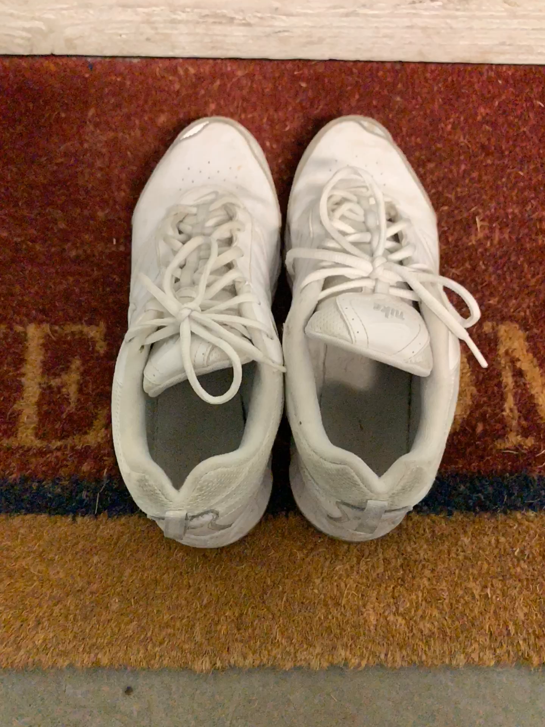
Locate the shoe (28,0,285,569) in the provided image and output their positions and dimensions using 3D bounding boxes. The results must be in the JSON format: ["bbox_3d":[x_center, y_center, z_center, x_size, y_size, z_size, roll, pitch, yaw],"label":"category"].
[{"bbox_3d":[-0.049,-0.044,0.341,0.110,0.130,0.301,0,77,0],"label":"shoe"}]

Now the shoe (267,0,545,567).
[{"bbox_3d":[0.058,-0.045,0.341,0.120,0.130,0.301,0,77,0],"label":"shoe"}]
